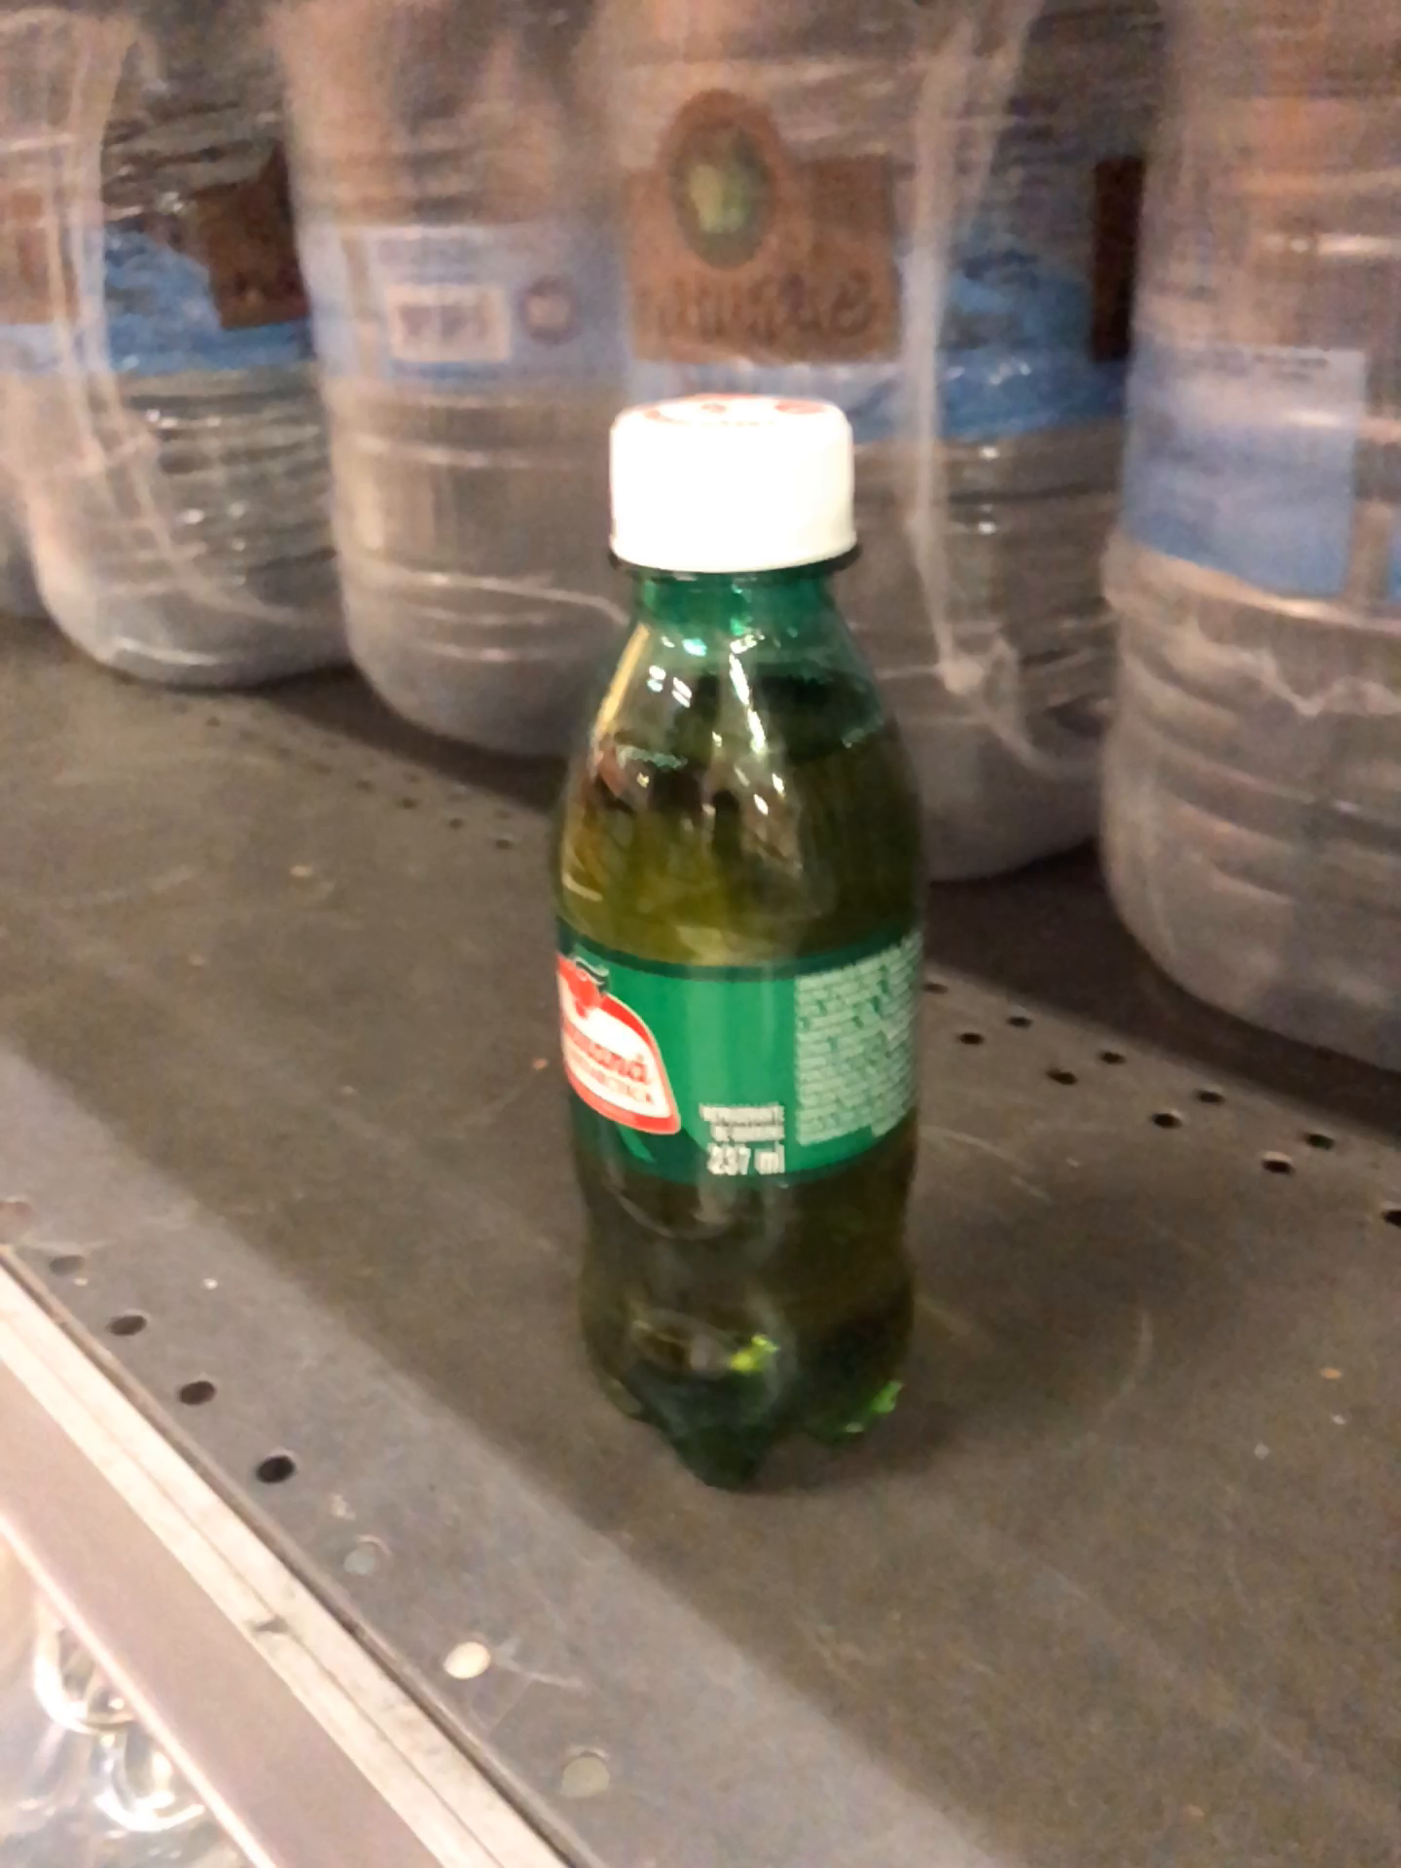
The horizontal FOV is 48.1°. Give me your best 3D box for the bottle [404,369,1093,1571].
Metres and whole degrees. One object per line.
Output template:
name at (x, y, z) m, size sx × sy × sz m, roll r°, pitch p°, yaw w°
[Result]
bottle at (0.008, 0.003, 0.225) m, size 0.060 × 0.149 × 0.060 m, roll -2°, pitch 26°, yaw 1°
